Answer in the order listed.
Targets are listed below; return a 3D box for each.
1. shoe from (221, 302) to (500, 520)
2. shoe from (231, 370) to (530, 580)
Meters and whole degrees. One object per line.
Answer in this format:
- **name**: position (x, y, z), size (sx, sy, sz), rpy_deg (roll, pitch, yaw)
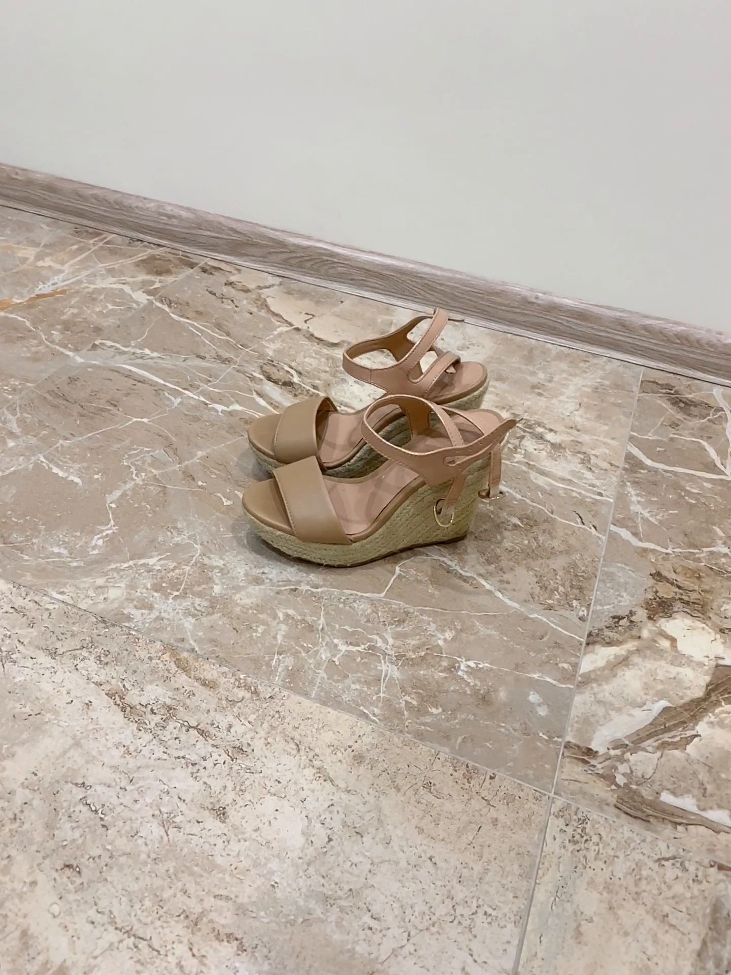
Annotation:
- **shoe**: position (-0.007, -0.063, 0.646), size (0.210, 0.149, 0.091), rpy_deg (3, 41, -2)
- **shoe**: position (0.003, -0.011, 0.598), size (0.210, 0.129, 0.091), rpy_deg (-3, 42, -9)
